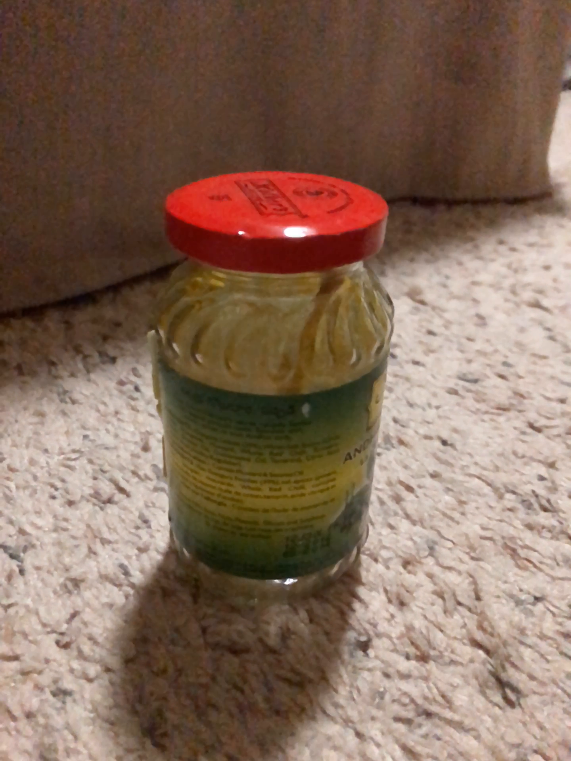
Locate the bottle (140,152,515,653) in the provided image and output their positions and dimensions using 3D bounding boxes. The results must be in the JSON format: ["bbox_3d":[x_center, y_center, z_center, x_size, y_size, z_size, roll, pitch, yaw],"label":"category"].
[{"bbox_3d":[0.000,0.003,0.173,0.070,0.110,0.070,3,30,-2],"label":"bottle"}]
